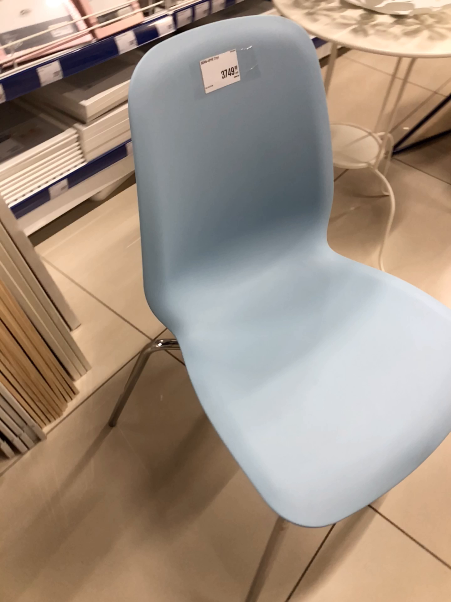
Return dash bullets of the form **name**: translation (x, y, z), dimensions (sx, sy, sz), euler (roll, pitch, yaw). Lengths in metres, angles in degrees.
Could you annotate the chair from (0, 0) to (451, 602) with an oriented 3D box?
- **chair**: translation (0.093, 0.051, 0.816), dimensions (0.562, 0.755, 0.541), euler (-34, 60, -28)
